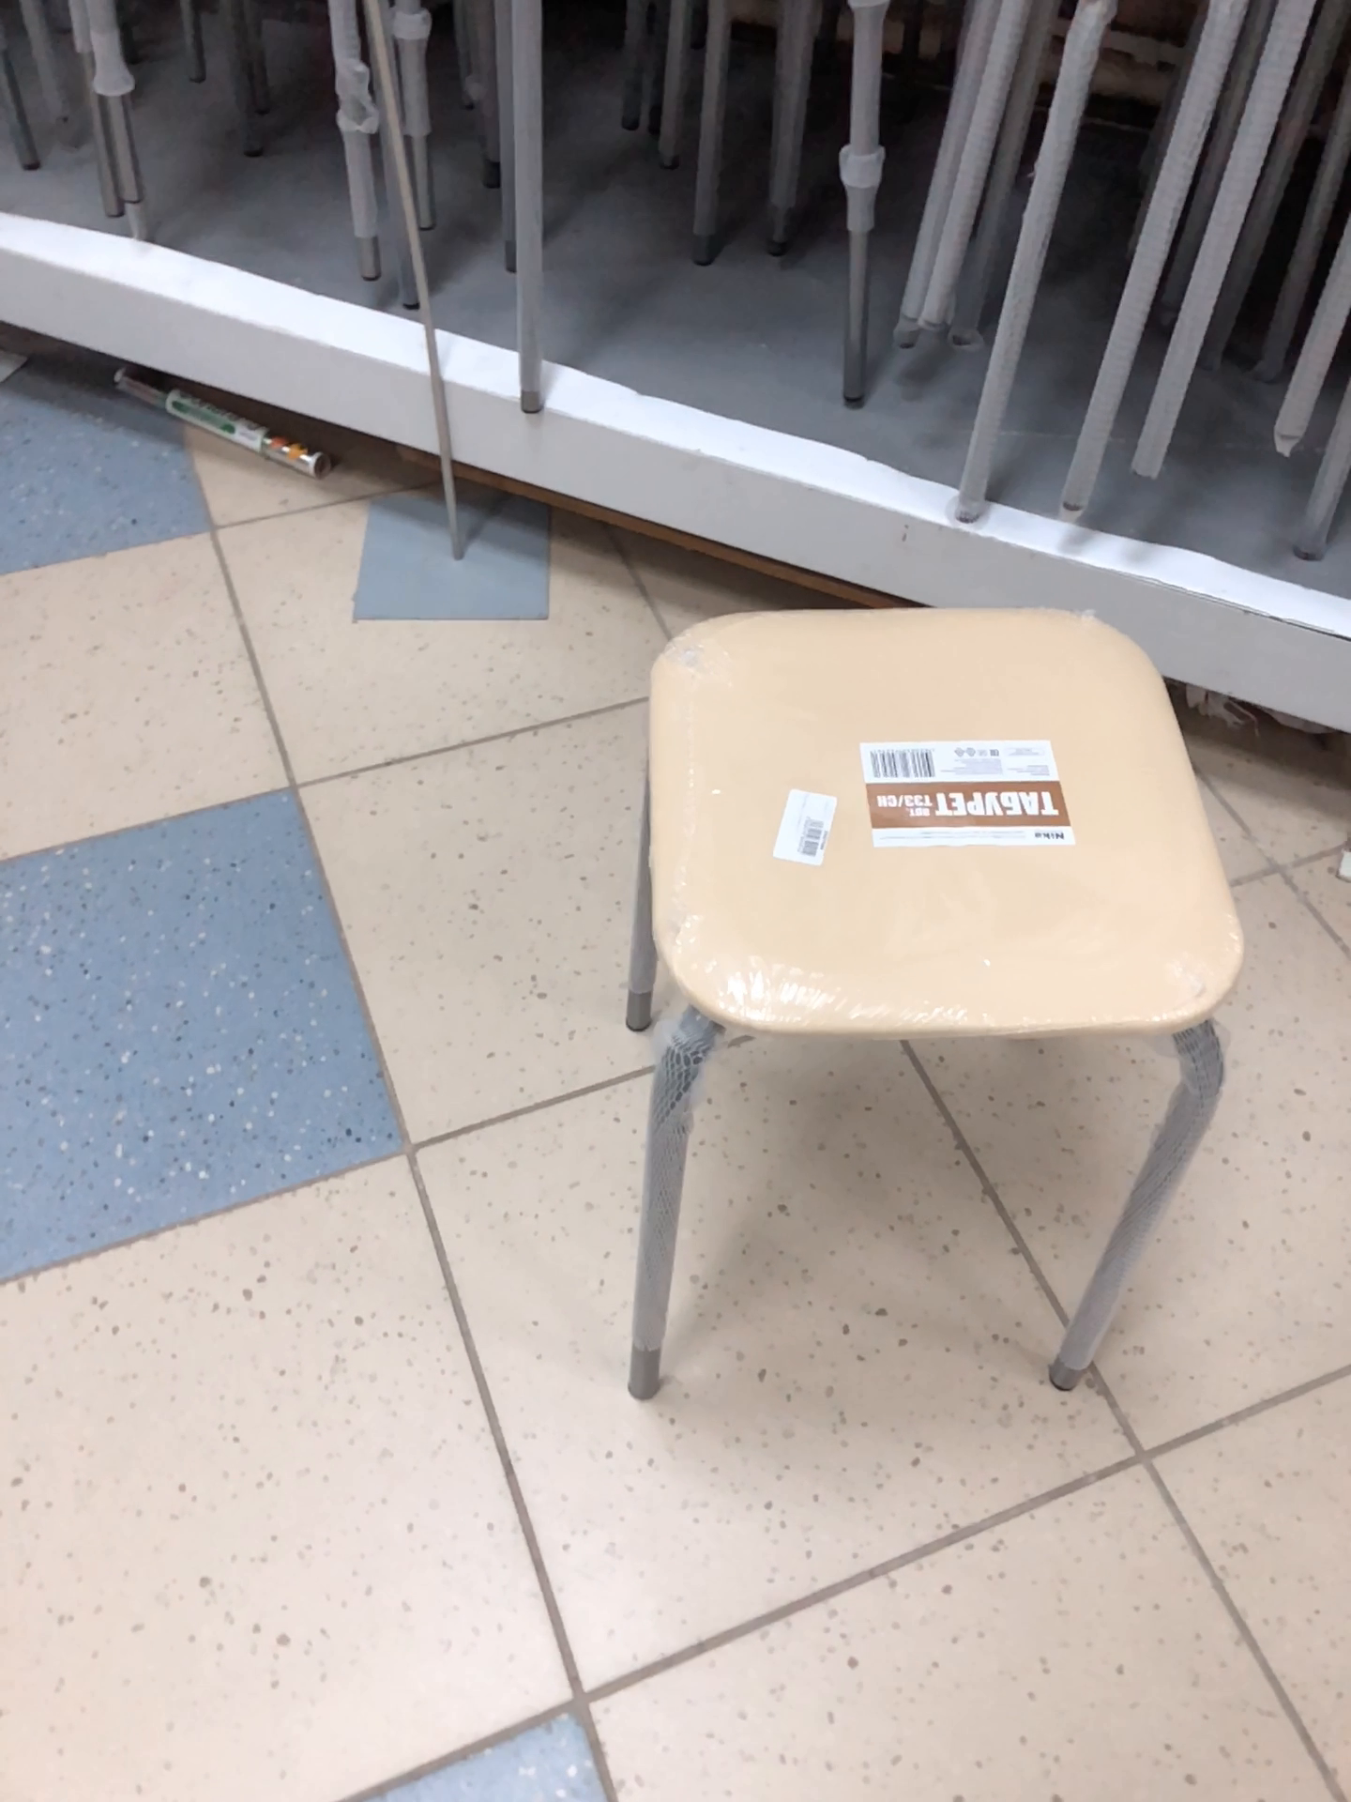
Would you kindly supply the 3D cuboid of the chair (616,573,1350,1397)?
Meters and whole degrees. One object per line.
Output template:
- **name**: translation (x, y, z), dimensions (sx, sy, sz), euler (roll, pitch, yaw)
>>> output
- **chair**: translation (0.137, 0.073, 0.917), dimensions (0.340, 0.437, 0.312), euler (1, 51, -1)
